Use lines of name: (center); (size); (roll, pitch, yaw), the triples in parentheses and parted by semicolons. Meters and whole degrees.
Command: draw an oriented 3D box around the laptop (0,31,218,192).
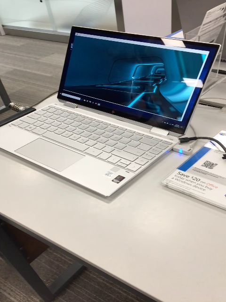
laptop: (-0.046, -0.096, 0.537); (0.308, 0.150, 0.269); (26, 49, 32)
